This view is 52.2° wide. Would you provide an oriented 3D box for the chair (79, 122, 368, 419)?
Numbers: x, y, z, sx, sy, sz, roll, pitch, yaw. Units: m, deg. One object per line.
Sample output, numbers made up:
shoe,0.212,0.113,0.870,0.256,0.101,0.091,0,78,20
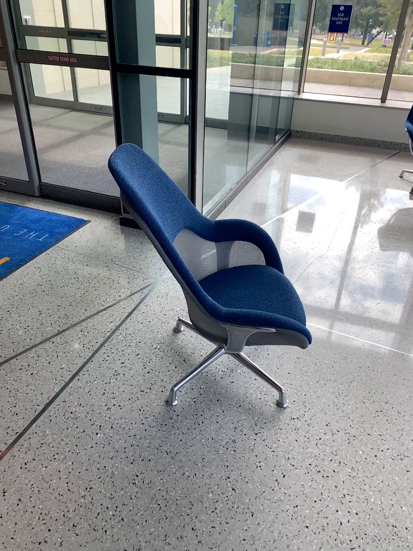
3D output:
chair,0.027,-0.039,1.695,0.784,0.933,0.730,1,31,-2
